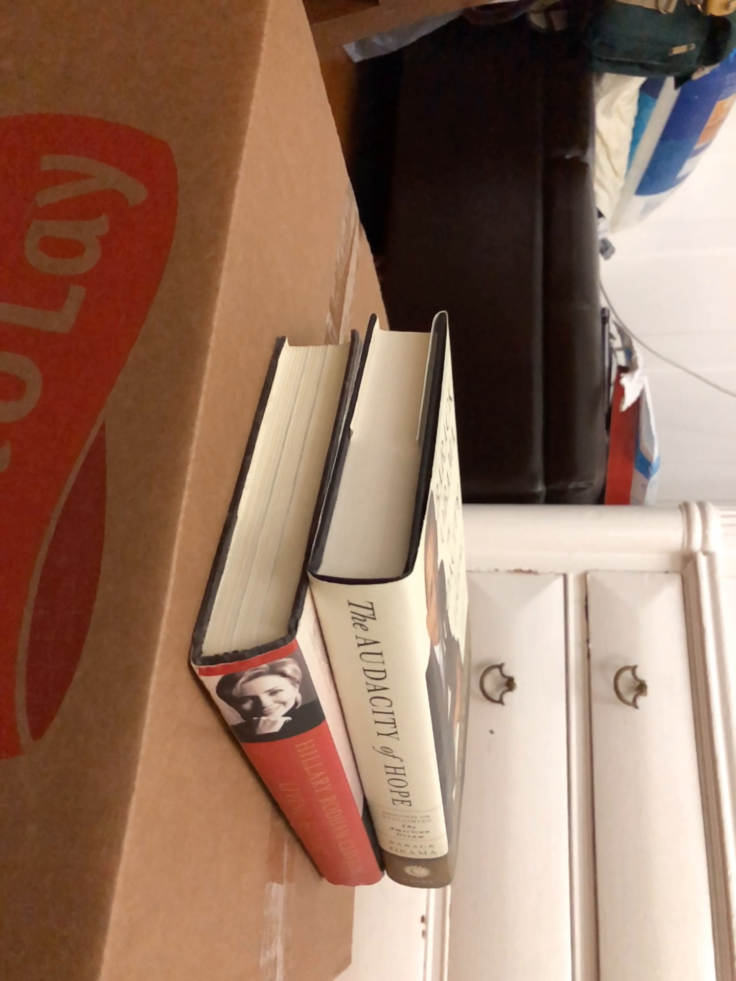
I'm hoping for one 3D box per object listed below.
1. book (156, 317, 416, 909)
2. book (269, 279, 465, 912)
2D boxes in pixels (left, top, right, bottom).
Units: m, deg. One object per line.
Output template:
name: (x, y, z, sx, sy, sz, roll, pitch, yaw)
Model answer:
book: (-0.016, 0.073, 0.387, 0.250, 0.040, 0.170, 78, 16, -49)
book: (0.018, 0.058, 0.399, 0.190, 0.040, 0.250, -79, 165, -45)
